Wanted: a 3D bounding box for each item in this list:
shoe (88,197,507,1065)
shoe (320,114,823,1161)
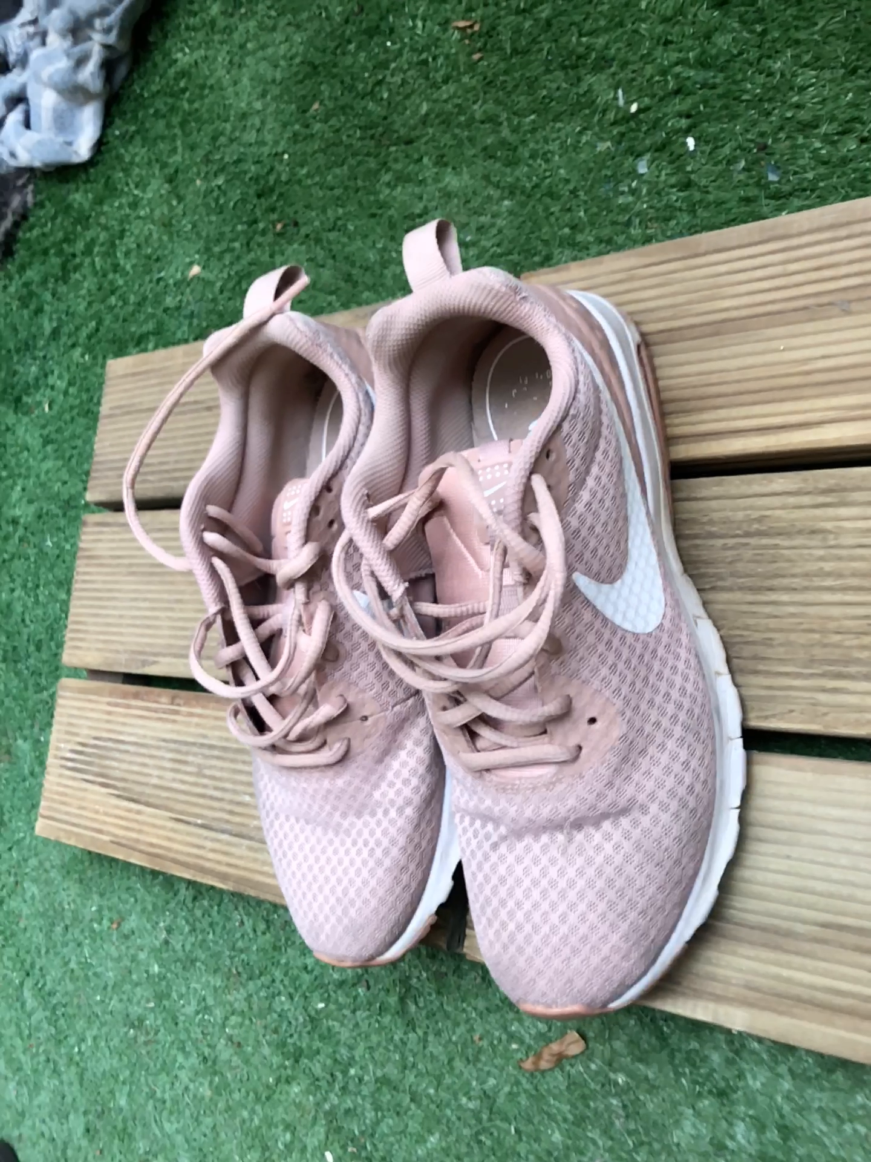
[{"bbox_3d":[-0.047,0.017,0.355,0.110,0.090,0.260,-9,76,36],"label":"shoe"},{"bbox_3d":[0.036,0.015,0.302,0.110,0.090,0.260,-11,75,36],"label":"shoe"}]
